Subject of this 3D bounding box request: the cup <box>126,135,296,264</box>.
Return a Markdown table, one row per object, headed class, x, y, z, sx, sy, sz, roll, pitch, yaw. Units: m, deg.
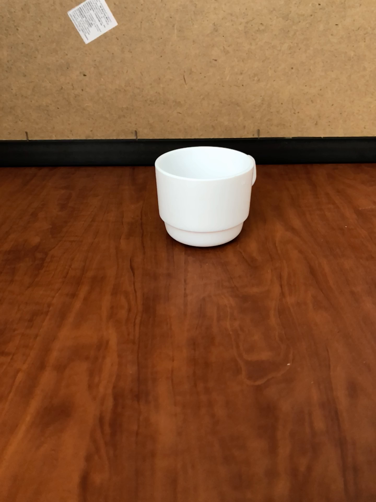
| class | x | y | z | sx | sy | sz | roll | pitch | yaw |
| --- | --- | --- | --- | --- | --- | --- | --- | --- | --- |
| cup | 0.022 | -0.054 | 0.368 | 0.120 | 0.060 | 0.087 | -27 | 39 | -37 |
